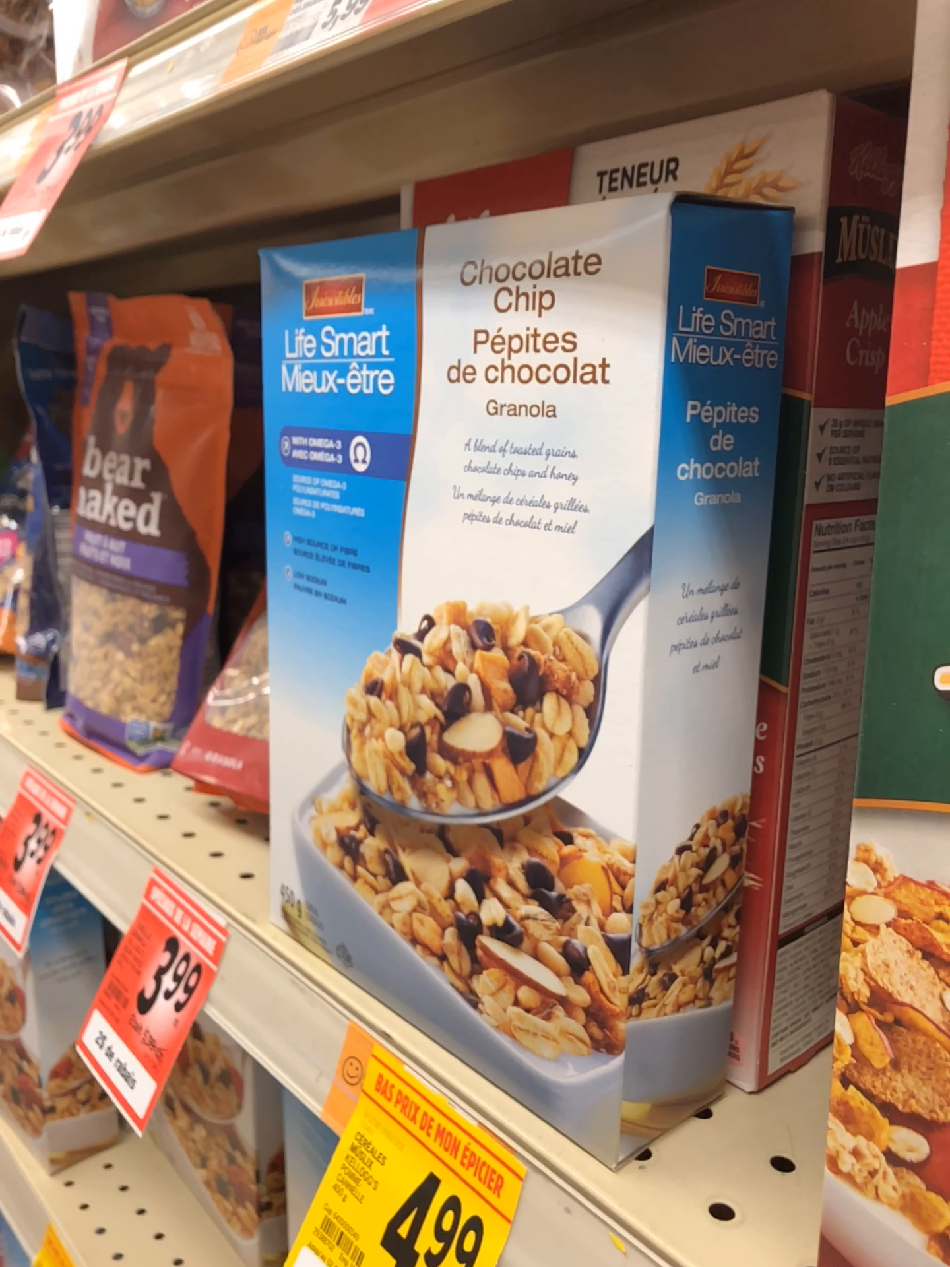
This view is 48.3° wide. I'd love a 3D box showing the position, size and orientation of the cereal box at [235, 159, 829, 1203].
[{"bbox_3d":[-0.002,0.003,0.319,0.050,0.239,0.180,-6,14,-42],"label":"cereal box"}]
